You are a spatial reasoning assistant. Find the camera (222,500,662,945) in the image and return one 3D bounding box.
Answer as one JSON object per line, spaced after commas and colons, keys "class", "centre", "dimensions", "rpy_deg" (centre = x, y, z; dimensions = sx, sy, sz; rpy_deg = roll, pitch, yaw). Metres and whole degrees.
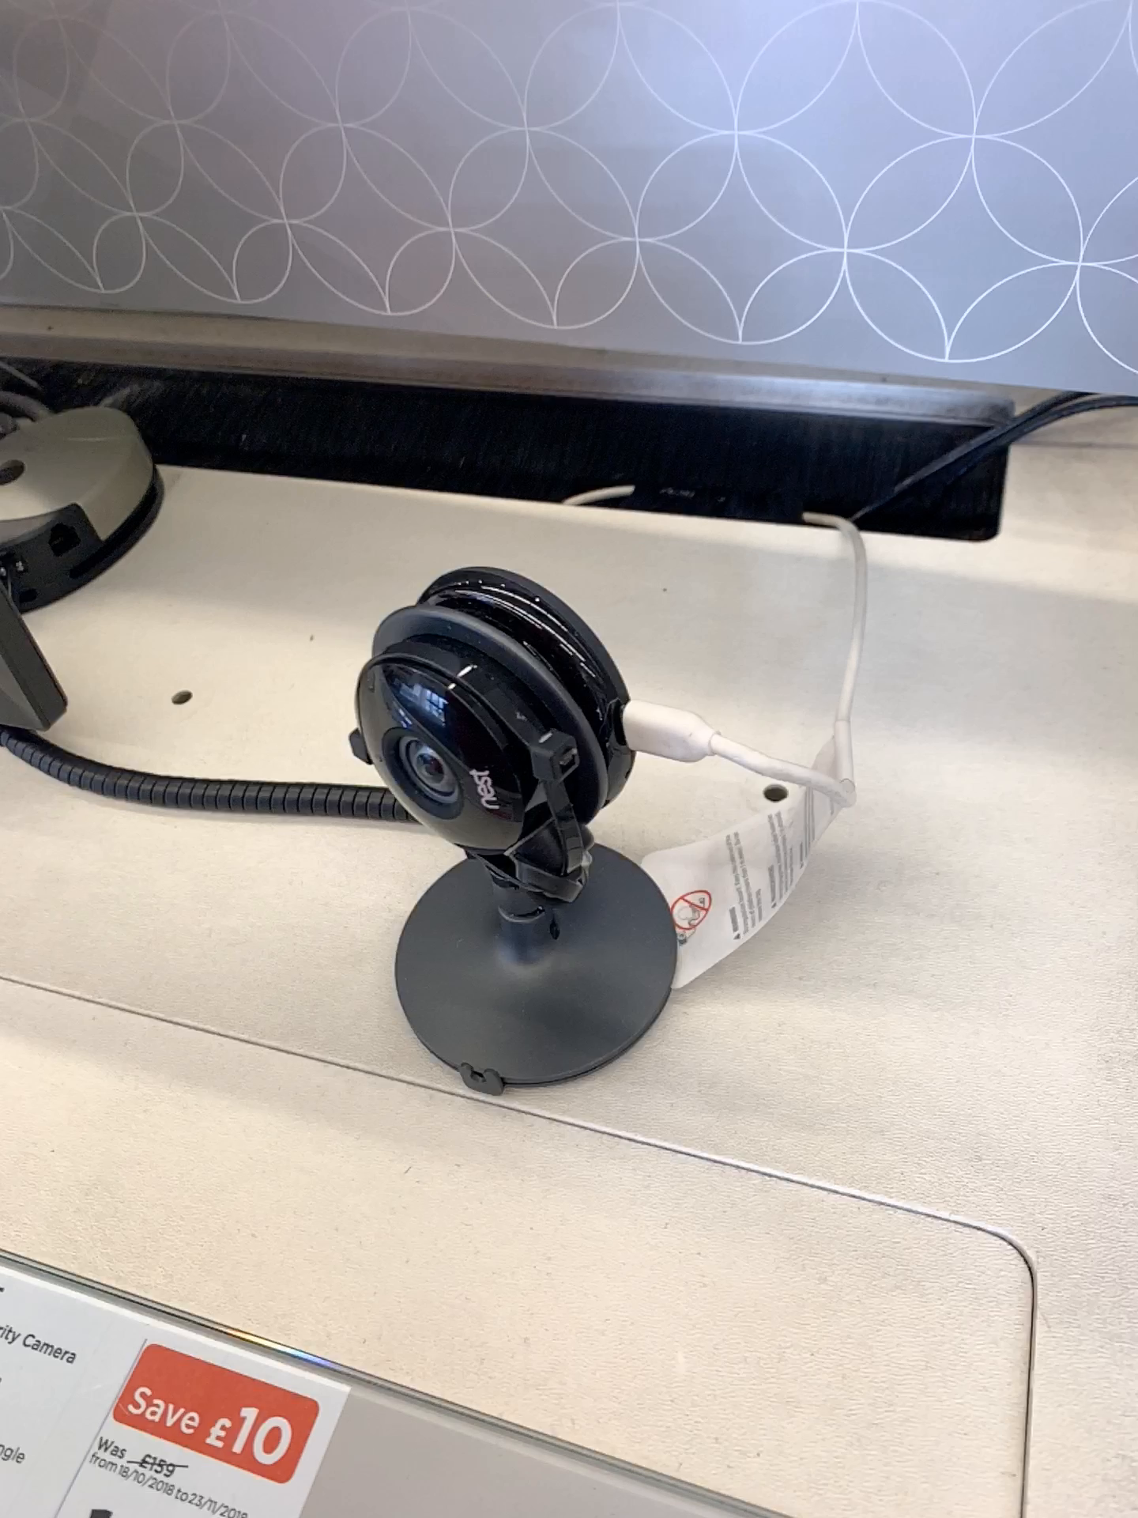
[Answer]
{"class": "camera", "centre": [-0.022, -0.009, 0.231], "dimensions": [0.060, 0.050, 0.050], "rpy_deg": [25, 54, 29]}
